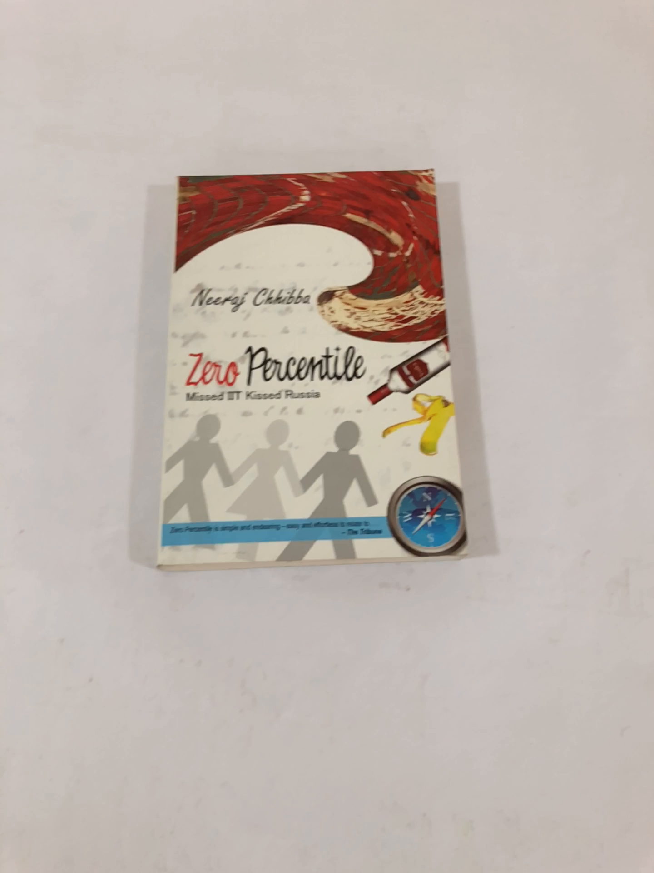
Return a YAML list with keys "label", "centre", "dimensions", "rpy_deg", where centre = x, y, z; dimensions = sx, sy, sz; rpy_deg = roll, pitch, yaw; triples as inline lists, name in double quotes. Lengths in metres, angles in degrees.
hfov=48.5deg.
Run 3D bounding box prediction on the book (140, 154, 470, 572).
- label: "book"
  centre: [-0.010, -0.041, 0.334]
  dimensions: [0.132, 0.021, 0.200]
  rpy_deg: [-1, 70, 0]
